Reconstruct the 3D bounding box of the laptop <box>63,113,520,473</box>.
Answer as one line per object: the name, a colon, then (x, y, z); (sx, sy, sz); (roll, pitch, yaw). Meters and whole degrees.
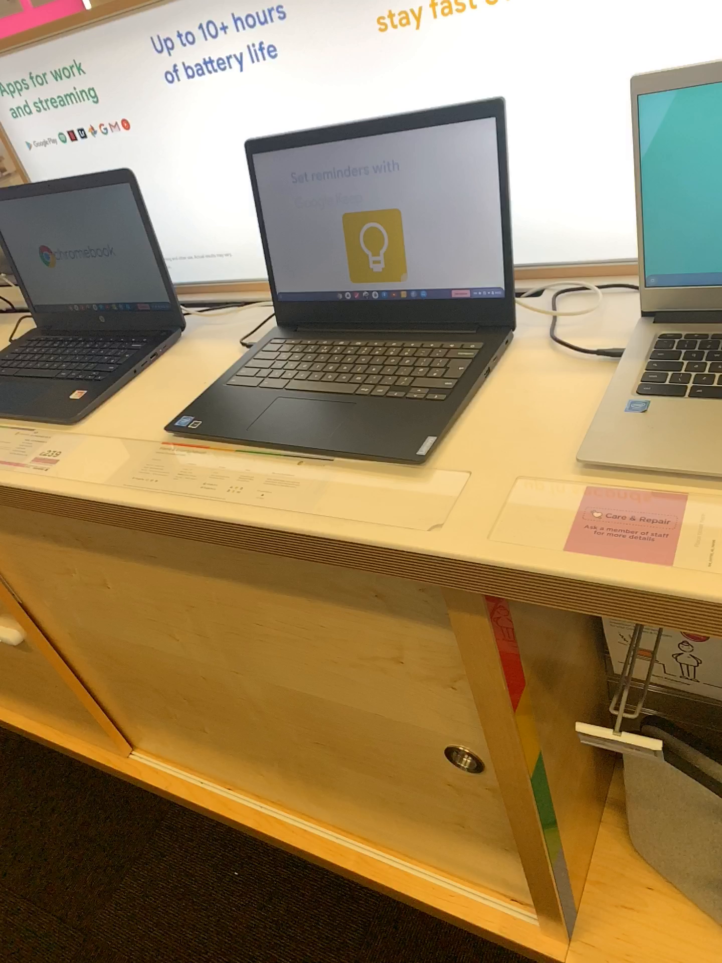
laptop: (-0.052, -0.195, 0.748); (0.316, 0.201, 0.282); (8, 44, 33)
